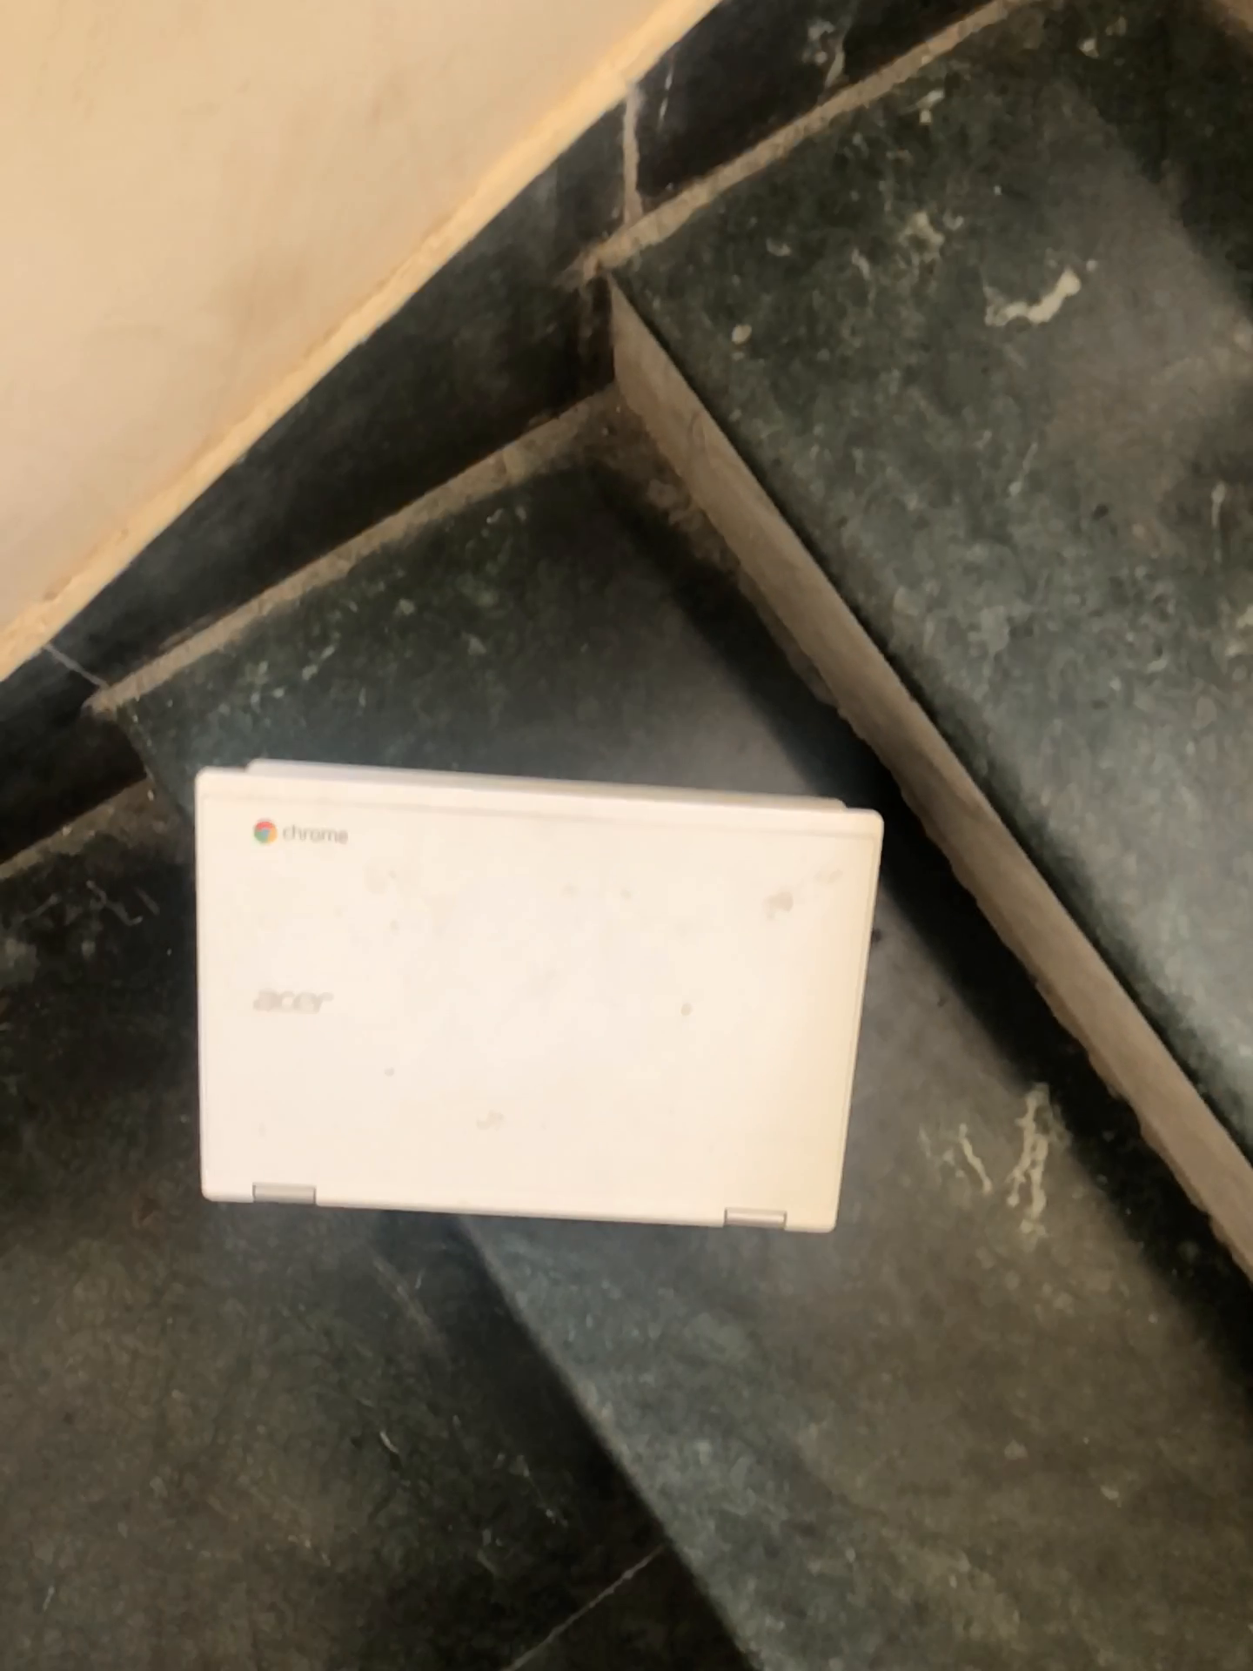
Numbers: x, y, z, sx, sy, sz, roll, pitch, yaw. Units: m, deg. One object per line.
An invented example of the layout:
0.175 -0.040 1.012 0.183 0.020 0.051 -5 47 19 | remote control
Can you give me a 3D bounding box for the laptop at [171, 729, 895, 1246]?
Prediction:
-0.037 0.067 0.594 0.282 0.091 0.190 3 85 -3 | laptop
